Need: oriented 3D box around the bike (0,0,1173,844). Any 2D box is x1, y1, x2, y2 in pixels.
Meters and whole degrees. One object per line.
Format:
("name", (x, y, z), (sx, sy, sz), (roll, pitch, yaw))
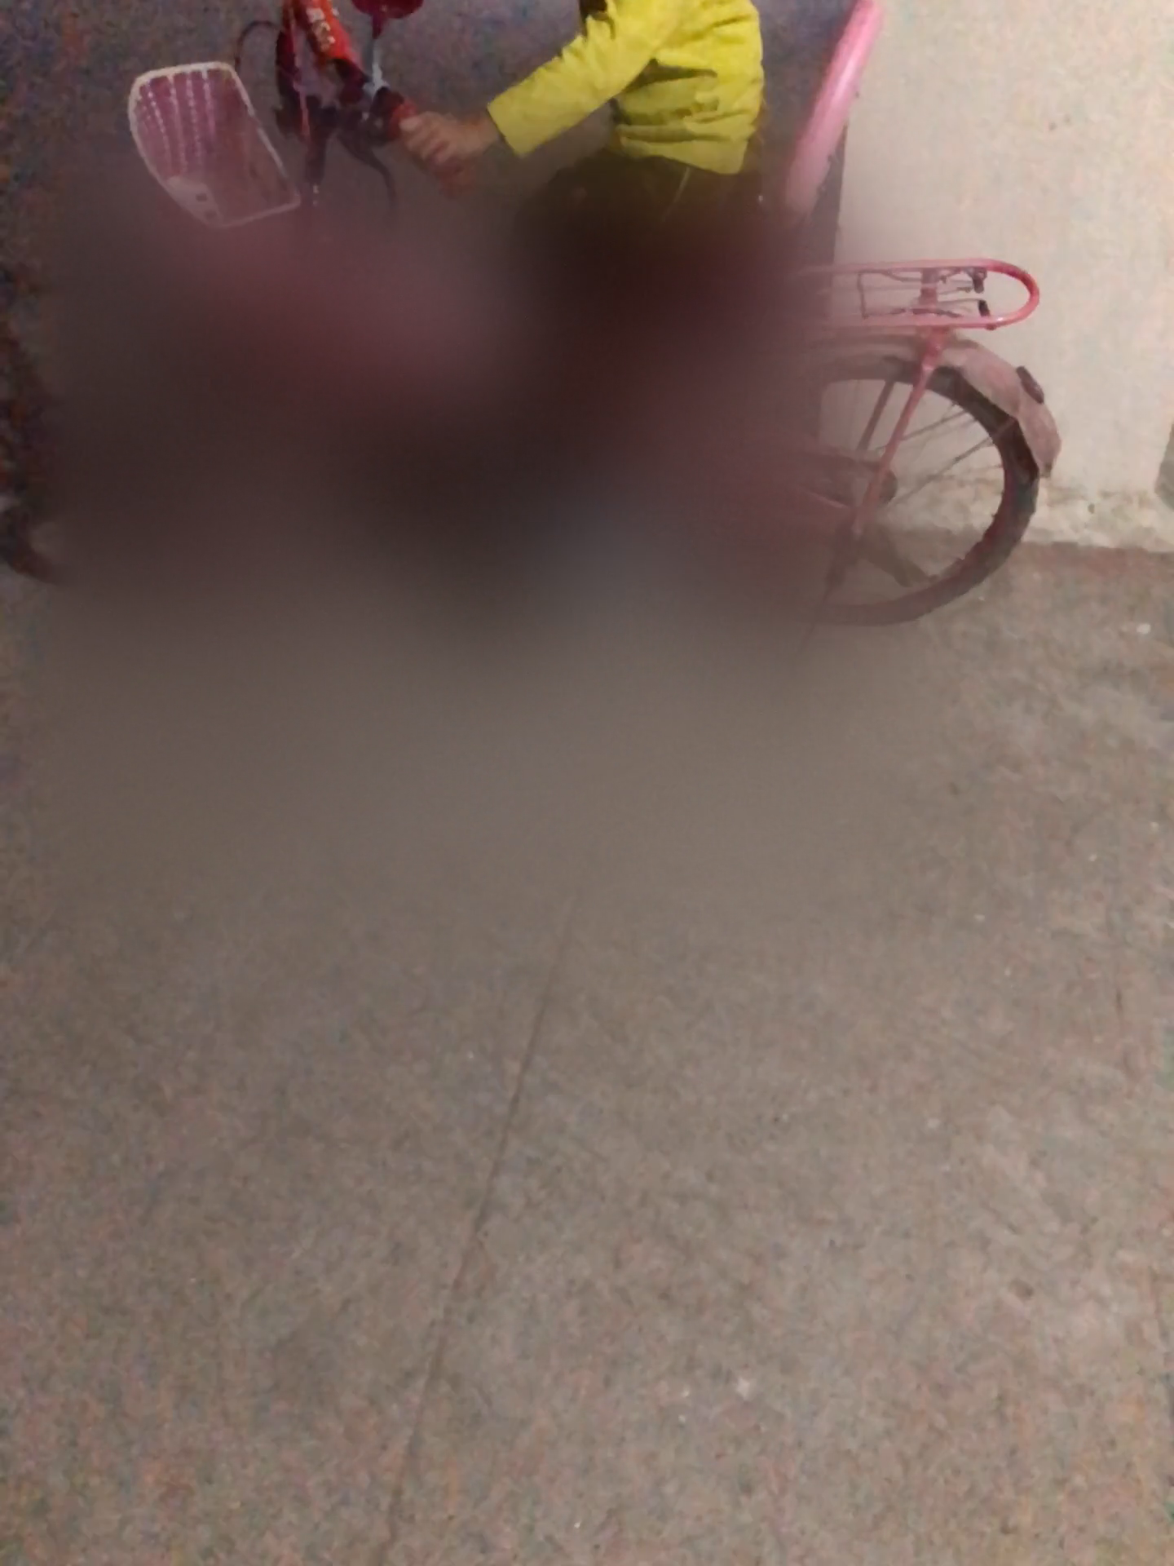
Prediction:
("bike", (-0.069, -0.461, 1.487), (1.277, 0.909, 0.497), (2, 40, 2))
